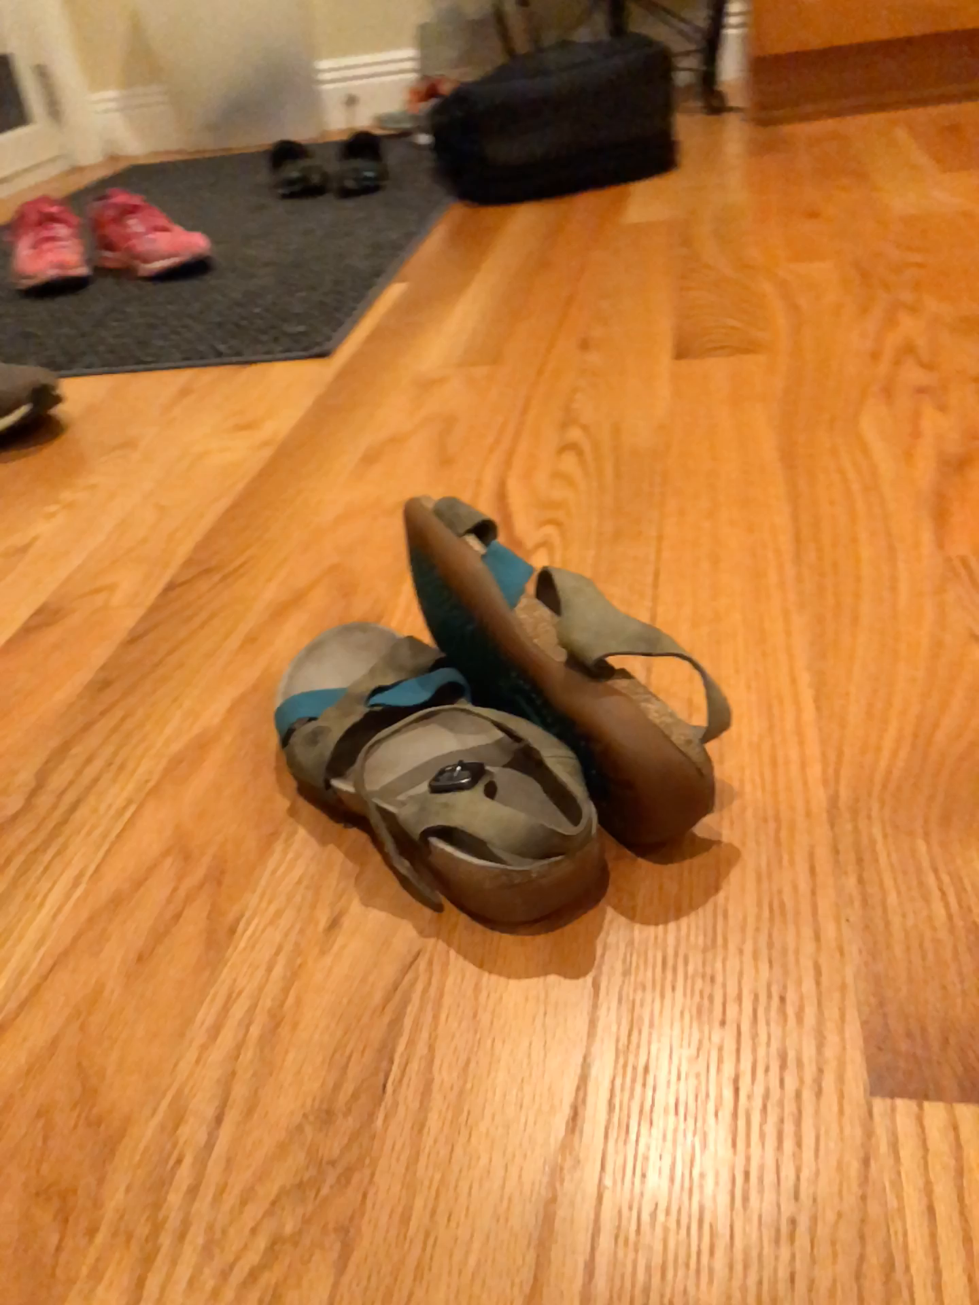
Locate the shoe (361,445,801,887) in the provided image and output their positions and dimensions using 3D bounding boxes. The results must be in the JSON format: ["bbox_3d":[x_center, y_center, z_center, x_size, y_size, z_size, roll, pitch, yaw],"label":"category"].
[{"bbox_3d":[0.032,-0.009,0.506,0.065,0.104,0.238,-25,36,-23],"label":"shoe"}]

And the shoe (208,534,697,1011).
[{"bbox_3d":[-0.028,0.035,0.492,0.104,0.075,0.241,-25,36,-23],"label":"shoe"}]
